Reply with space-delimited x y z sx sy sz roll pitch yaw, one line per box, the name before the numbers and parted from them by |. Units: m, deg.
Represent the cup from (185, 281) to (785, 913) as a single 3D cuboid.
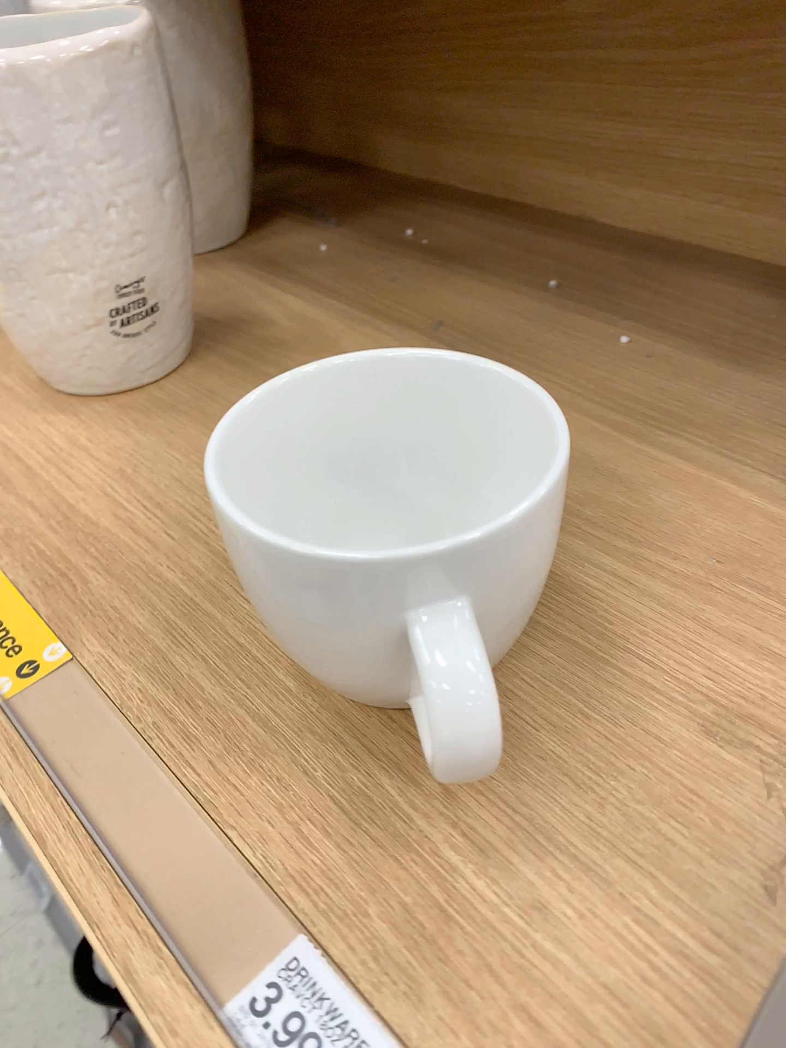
cup | 0.010 0.006 0.227 0.110 0.080 0.141 -13 40 -8
